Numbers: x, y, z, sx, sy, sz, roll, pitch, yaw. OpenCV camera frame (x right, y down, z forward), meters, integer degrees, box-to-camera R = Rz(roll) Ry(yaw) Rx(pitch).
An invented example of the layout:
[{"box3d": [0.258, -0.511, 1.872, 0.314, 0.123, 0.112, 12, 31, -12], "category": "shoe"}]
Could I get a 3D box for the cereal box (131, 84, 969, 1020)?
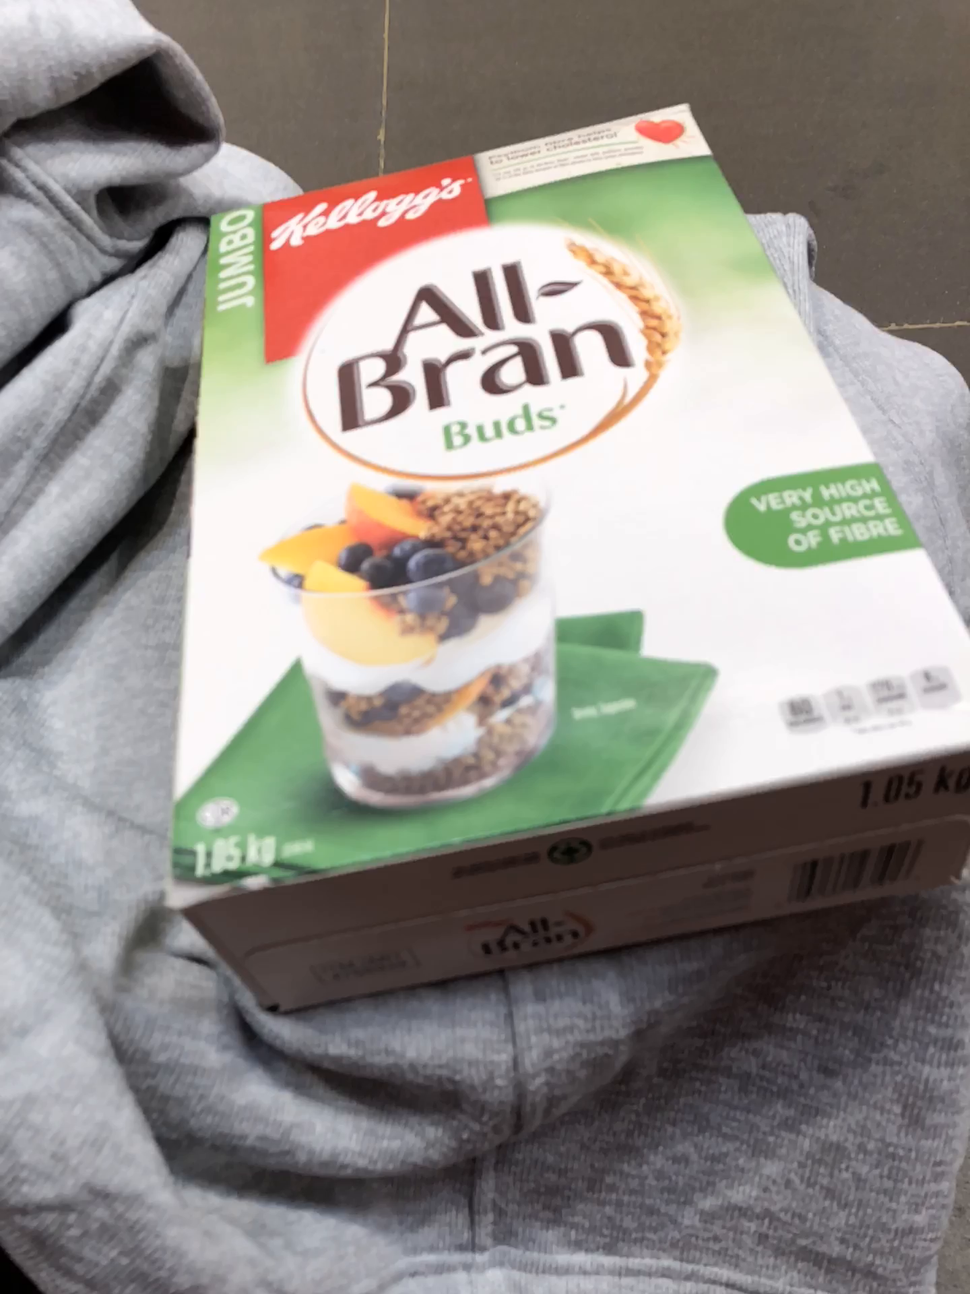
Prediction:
[{"box3d": [0.014, -0.058, 0.341, 0.200, 0.070, 0.301, -12, 49, 5], "category": "cereal box"}]
